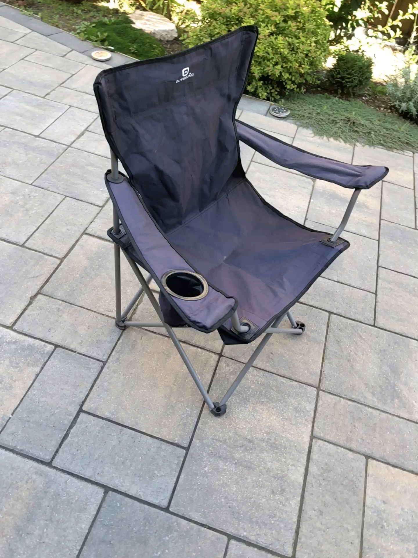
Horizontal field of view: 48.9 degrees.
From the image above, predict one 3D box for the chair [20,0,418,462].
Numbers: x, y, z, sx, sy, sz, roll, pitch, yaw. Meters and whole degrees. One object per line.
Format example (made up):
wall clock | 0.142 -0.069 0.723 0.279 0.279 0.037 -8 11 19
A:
chair | 0.055 -0.129 1.188 0.571 0.817 0.692 38 53 22
